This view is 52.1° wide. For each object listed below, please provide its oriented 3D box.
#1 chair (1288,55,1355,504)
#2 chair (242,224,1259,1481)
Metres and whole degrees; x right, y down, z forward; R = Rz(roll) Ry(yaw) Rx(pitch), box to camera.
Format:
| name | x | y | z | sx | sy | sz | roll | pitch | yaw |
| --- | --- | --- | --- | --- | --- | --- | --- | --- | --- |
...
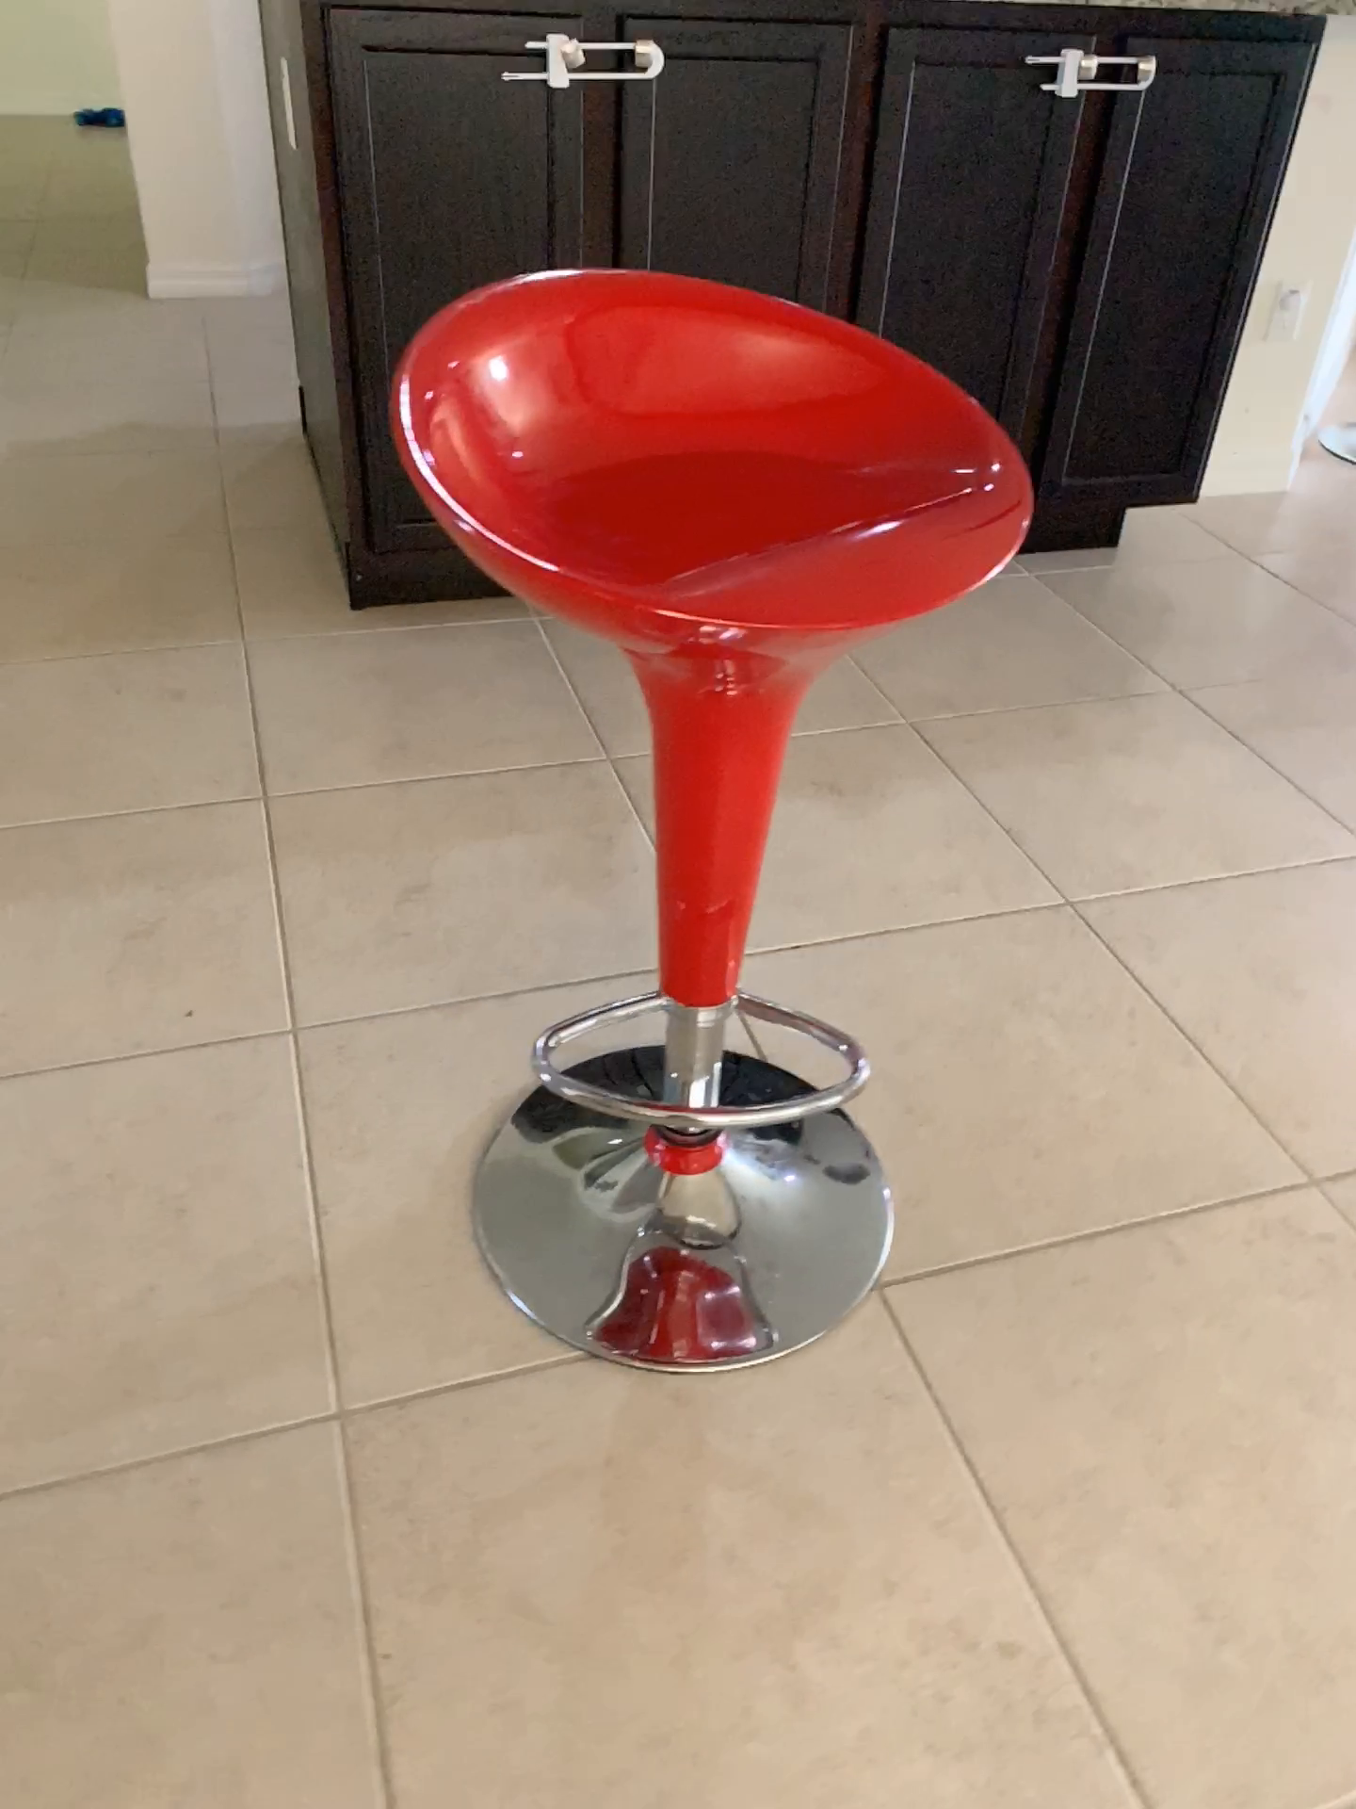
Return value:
| name | x | y | z | sx | sy | sz | roll | pitch | yaw |
| --- | --- | --- | --- | --- | --- | --- | --- | --- | --- |
| chair | 1.615 | -1.299 | 2.863 | 0.461 | 0.716 | 0.553 | 12 | 36 | 13 |
| chair | 0.017 | -0.057 | 1.043 | 0.439 | 0.726 | 0.434 | -22 | 42 | -31 |
